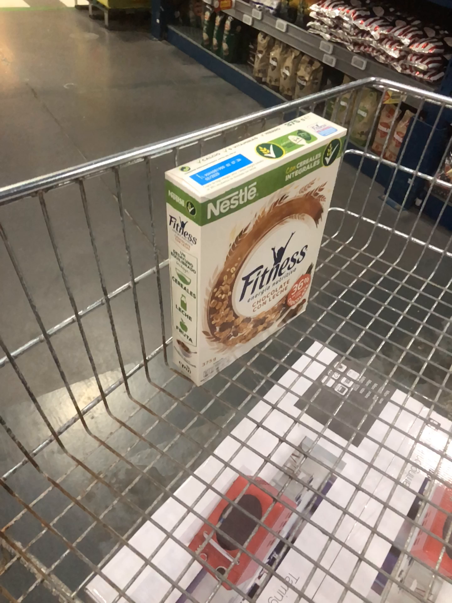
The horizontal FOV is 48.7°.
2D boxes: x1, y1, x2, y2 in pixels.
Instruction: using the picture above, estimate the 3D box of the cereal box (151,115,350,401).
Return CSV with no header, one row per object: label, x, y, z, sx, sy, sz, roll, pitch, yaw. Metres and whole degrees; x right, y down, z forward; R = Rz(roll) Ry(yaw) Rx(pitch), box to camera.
cereal box,0.023,-0.042,0.547,0.201,0.259,0.060,-32,54,-32
